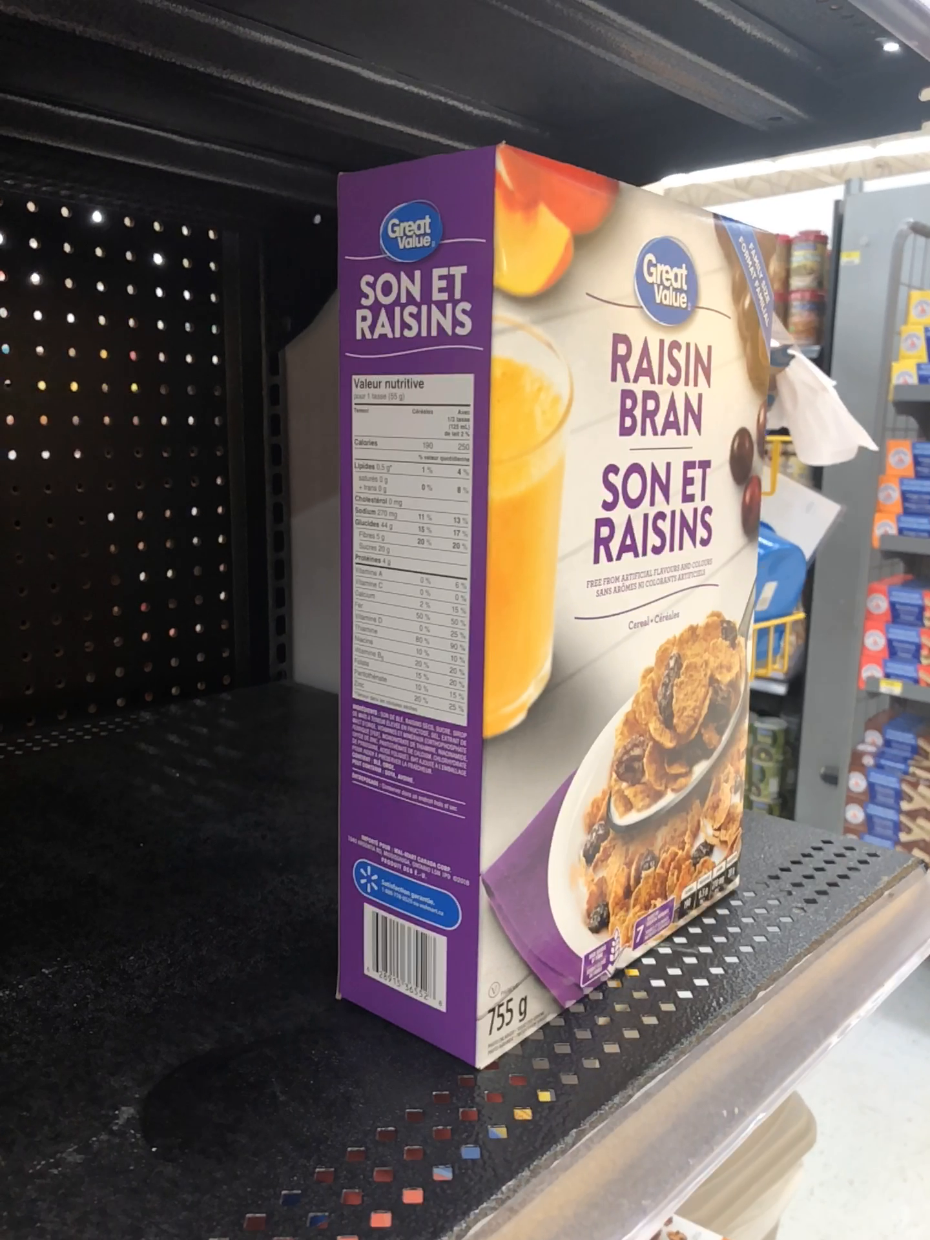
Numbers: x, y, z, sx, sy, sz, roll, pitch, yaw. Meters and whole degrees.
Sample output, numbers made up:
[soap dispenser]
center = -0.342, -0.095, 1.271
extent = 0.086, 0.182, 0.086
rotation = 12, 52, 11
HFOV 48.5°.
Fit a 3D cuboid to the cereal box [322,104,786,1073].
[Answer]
[cereal box]
center = 0.044, -0.016, 0.418
extent = 0.070, 0.299, 0.210
rotation = 9, 13, 38
